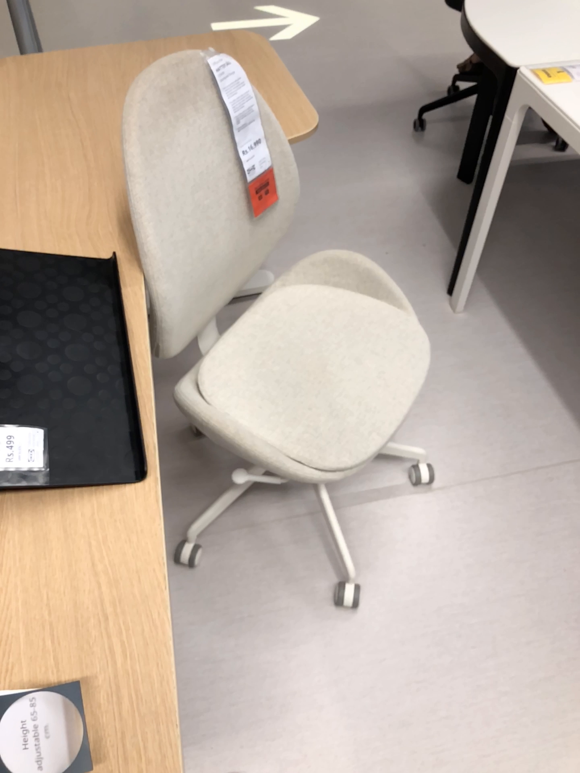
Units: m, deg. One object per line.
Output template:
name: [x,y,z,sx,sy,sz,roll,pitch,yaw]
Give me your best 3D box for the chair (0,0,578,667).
chair: [0.000,-0.060,1.263,0.621,0.994,0.663,24,54,18]
